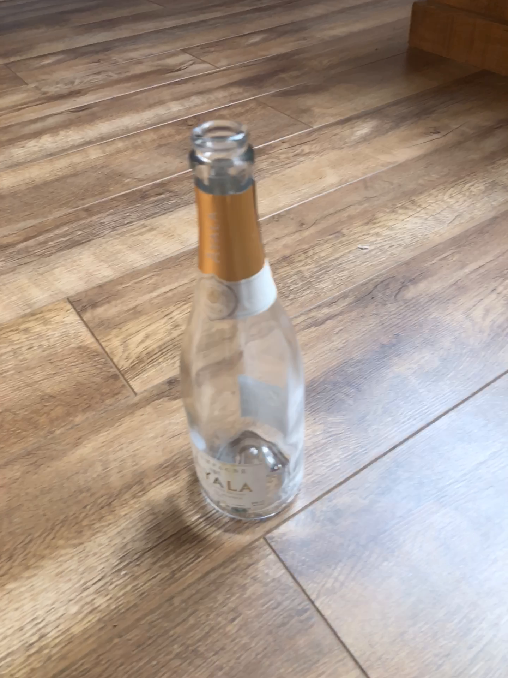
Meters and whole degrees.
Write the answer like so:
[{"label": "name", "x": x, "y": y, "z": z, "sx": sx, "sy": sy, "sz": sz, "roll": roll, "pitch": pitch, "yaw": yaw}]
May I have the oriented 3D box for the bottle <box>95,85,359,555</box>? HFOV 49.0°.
[{"label": "bottle", "x": -0.002, "y": 0.010, "z": 0.363, "sx": 0.090, "sy": 0.298, "sz": 0.091, "roll": -2, "pitch": 43, "yaw": 2}]
